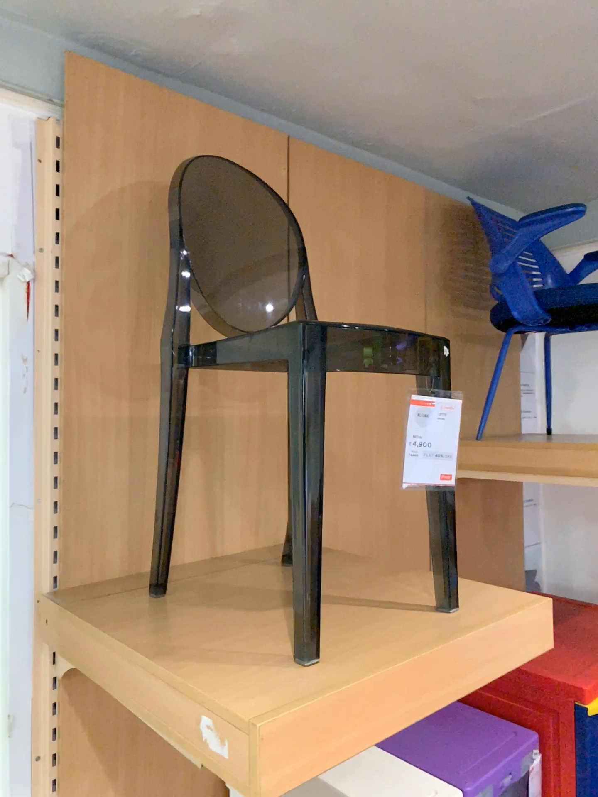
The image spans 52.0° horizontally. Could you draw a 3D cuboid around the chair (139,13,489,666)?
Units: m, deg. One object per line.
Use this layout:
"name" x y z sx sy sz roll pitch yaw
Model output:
"chair" 0.012 -0.077 1.102 0.400 0.850 0.470 1 -3 -43
